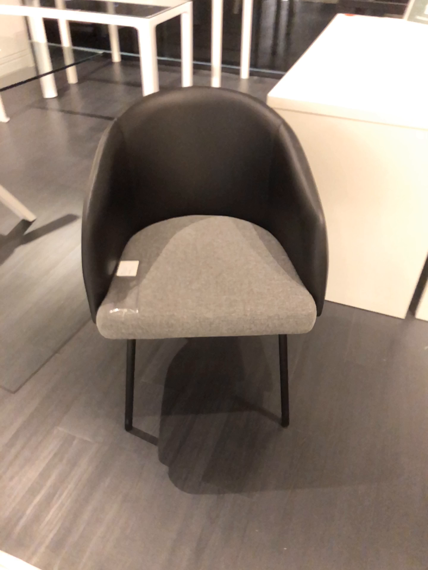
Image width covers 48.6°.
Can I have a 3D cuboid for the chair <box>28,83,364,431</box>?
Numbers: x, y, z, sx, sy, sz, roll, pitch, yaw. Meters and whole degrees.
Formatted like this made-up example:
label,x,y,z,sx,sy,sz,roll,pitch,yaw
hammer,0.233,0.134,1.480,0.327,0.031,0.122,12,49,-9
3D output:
label,x,y,z,sx,sy,sz,roll,pitch,yaw
chair,-0.042,-0.078,1.329,0.610,0.764,0.595,-1,39,-2
